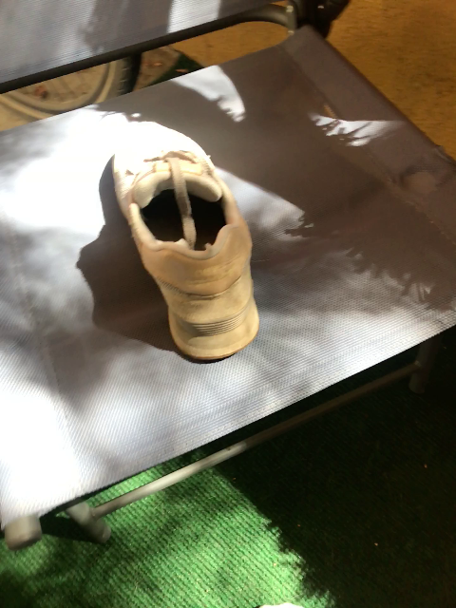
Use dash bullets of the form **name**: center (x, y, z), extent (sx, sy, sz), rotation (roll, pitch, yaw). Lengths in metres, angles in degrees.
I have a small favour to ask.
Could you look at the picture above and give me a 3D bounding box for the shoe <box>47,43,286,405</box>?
- **shoe**: center (-0.059, -0.076, 0.441), extent (0.124, 0.104, 0.287), rotation (-16, 68, -5)
